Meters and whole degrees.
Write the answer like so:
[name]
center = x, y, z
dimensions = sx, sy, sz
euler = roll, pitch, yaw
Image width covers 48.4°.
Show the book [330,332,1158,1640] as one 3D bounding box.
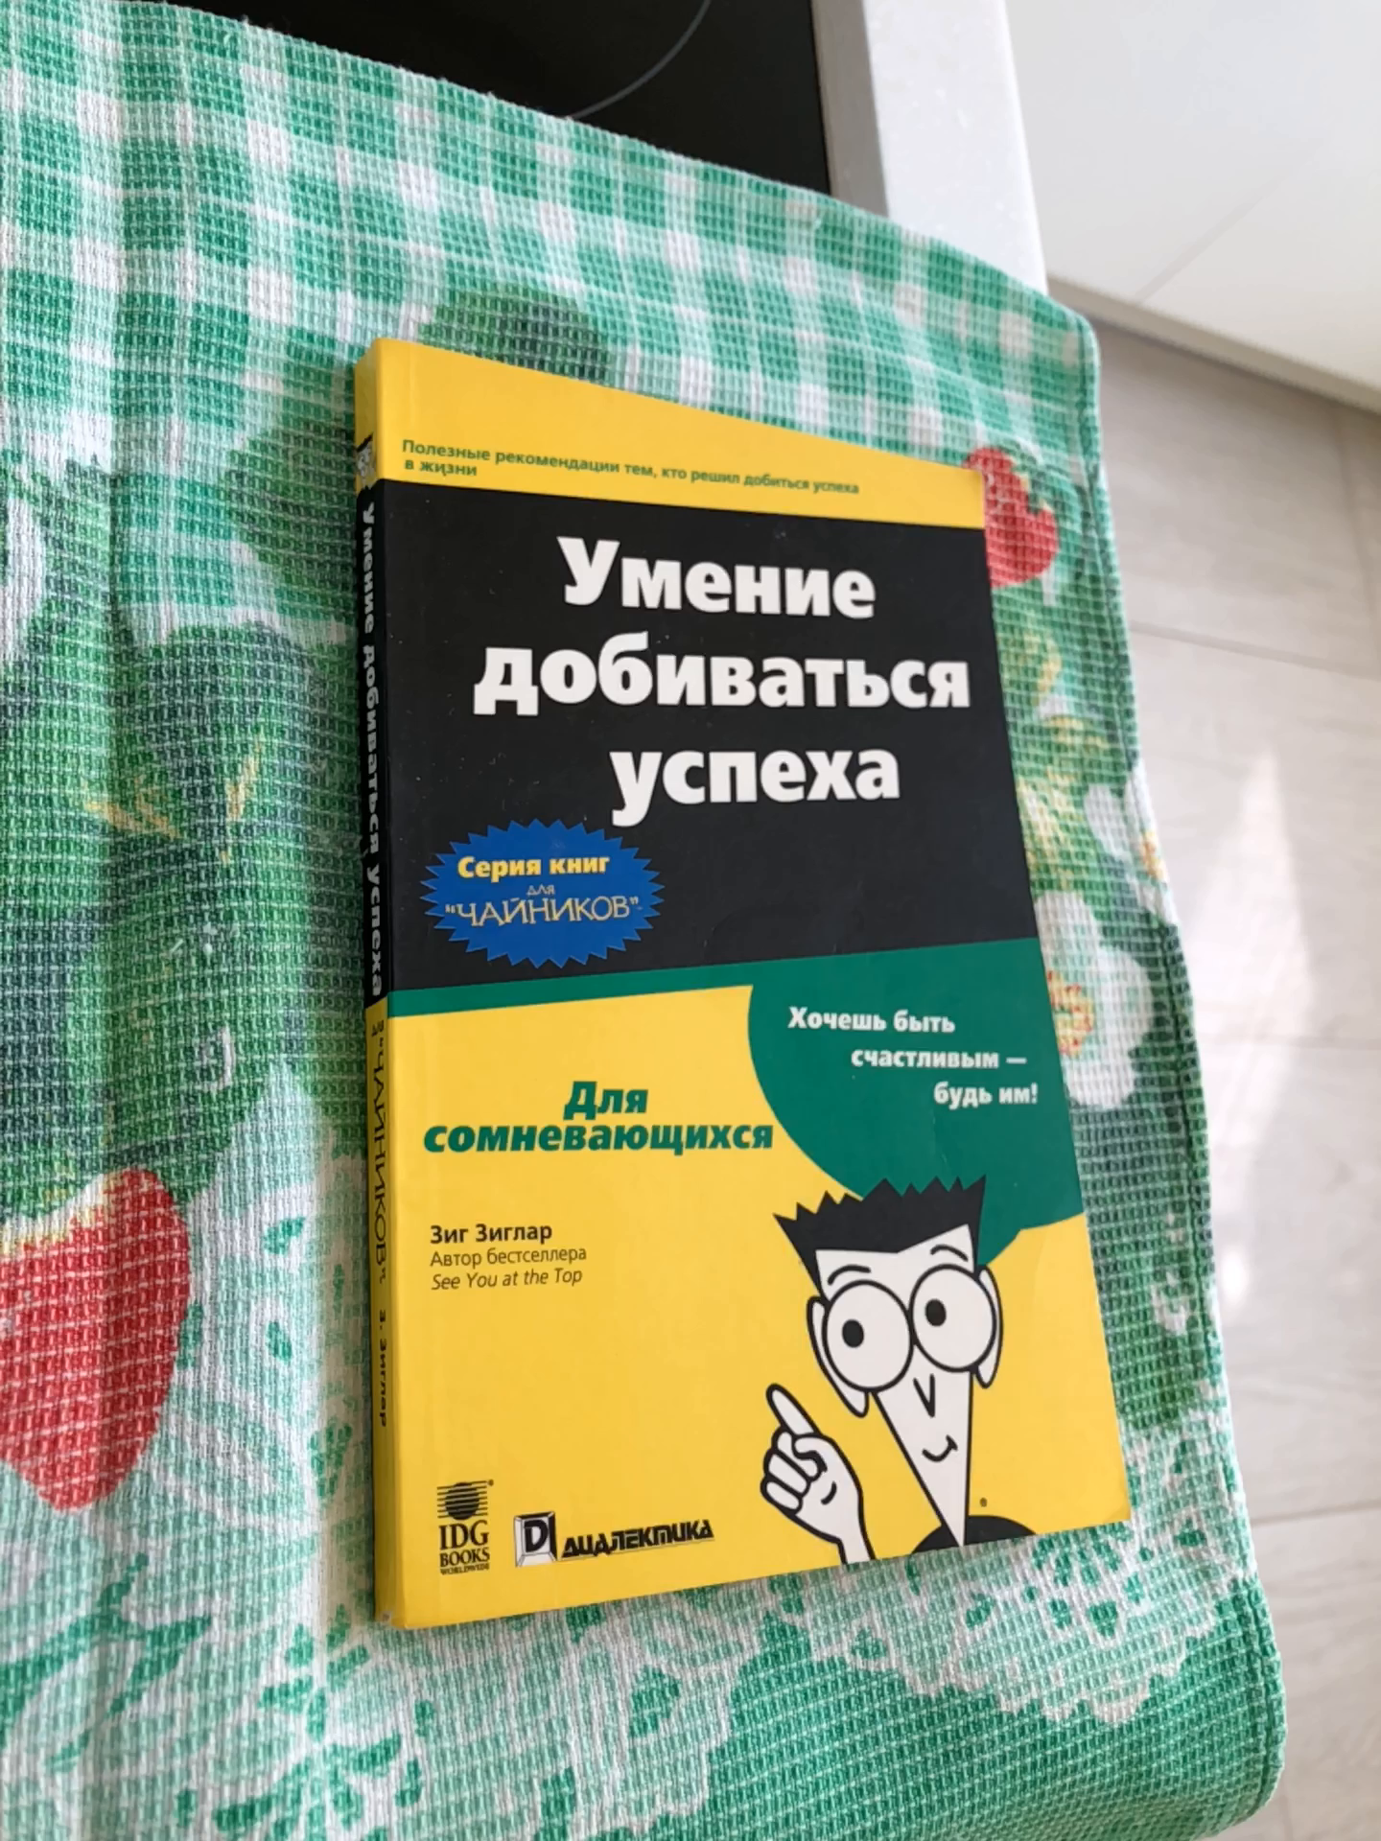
[book]
center = 0.006, 0.003, 0.228
dimensions = 0.113, 0.017, 0.172
euler = 3, 72, -25
